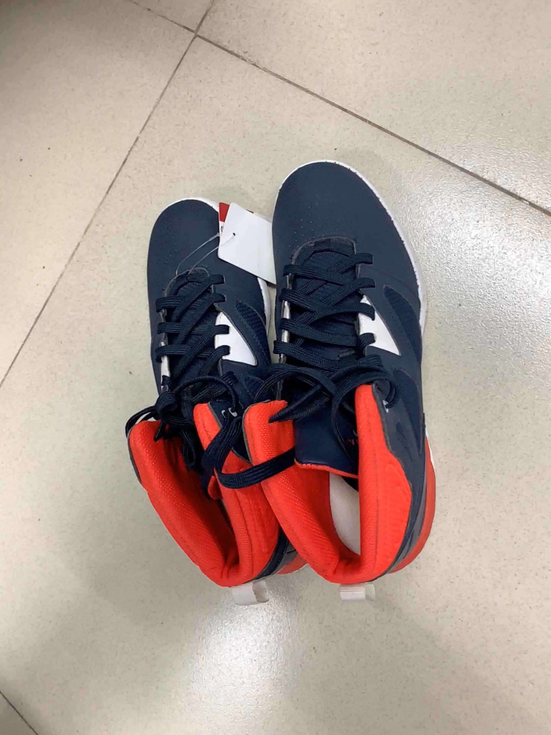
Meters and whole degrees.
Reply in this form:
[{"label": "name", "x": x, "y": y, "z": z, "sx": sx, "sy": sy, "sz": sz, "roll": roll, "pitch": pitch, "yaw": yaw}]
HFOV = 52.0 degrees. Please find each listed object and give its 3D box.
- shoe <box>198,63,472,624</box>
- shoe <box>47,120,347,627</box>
[{"label": "shoe", "x": 0.044, "y": -0.008, "z": 0.362, "sx": 0.110, "sy": 0.120, "sz": 0.290, "roll": -9, "pitch": 84, "yaw": 20}, {"label": "shoe", "x": -0.052, "y": 0.005, "z": 0.390, "sx": 0.110, "sy": 0.100, "sz": 0.290, "roll": -17, "pitch": 82, "yaw": 19}]
